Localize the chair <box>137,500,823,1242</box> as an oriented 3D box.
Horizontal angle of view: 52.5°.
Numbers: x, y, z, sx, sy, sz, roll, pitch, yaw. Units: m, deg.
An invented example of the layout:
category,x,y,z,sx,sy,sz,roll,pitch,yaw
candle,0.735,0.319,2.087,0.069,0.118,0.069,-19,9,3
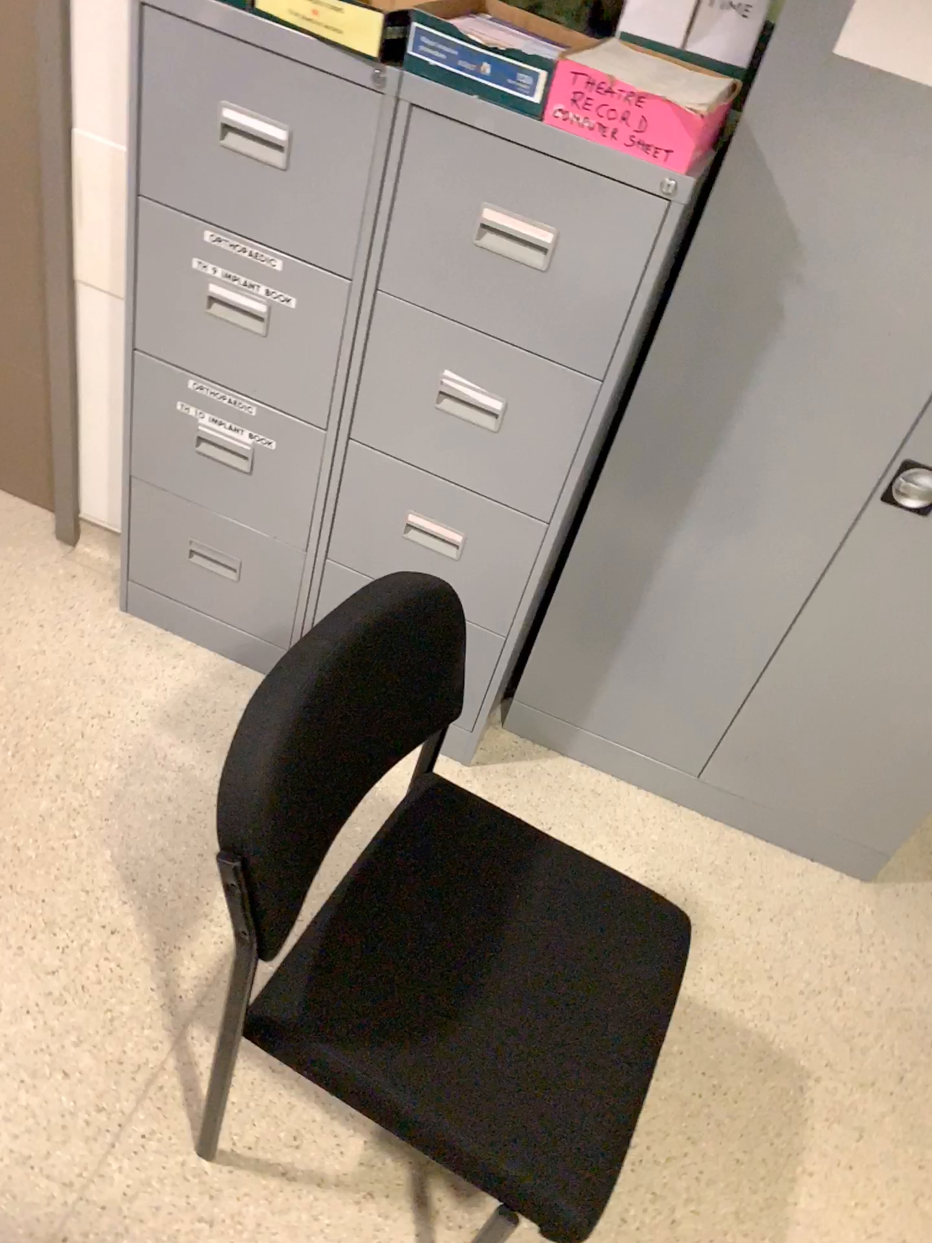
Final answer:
category,x,y,z,sx,sy,sz,roll,pitch,yaw
chair,-0.009,0.431,1.360,0.591,0.852,0.635,27,40,10
